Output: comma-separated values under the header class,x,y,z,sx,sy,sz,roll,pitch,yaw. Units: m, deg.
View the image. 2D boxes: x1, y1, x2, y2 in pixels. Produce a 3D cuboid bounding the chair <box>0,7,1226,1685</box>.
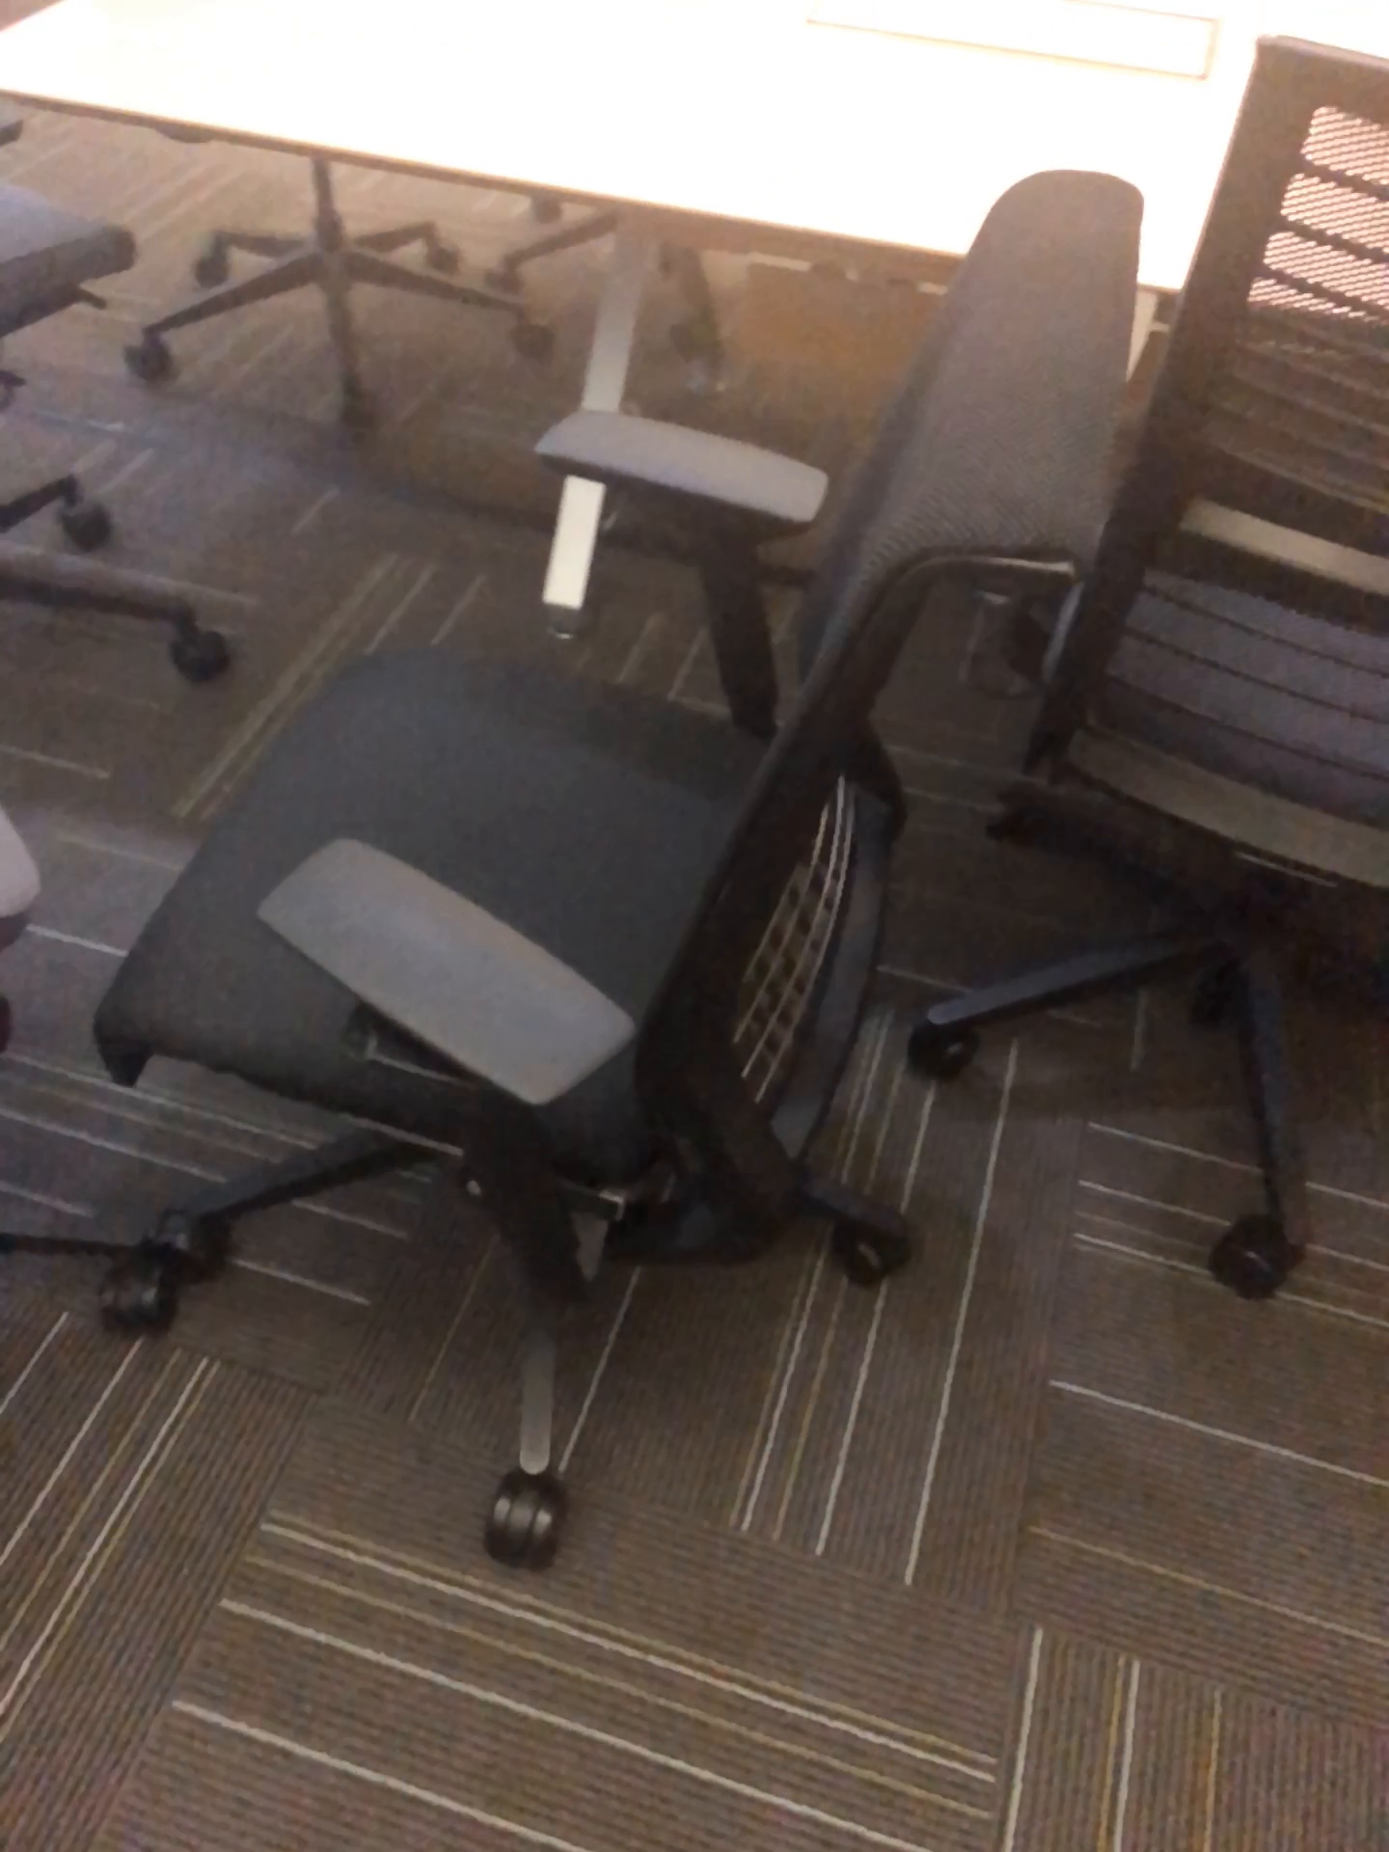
class,x,y,z,sx,sy,sz,roll,pitch,yaw
chair,-0.089,-0.052,1.232,0.730,0.991,0.727,12,44,10
